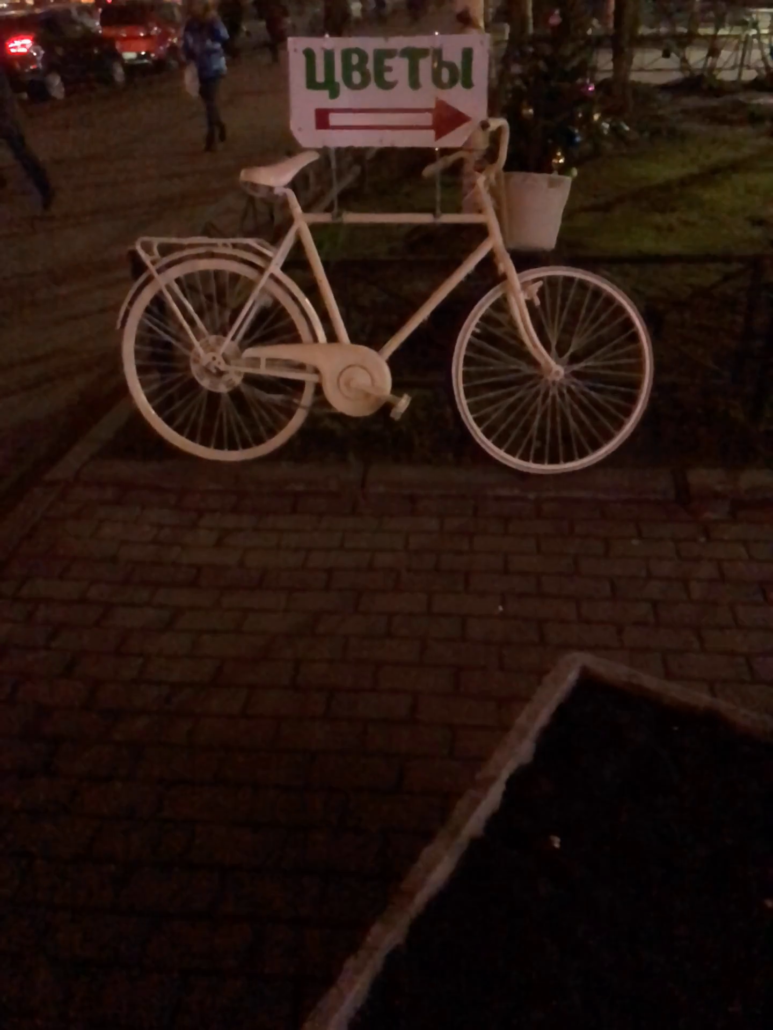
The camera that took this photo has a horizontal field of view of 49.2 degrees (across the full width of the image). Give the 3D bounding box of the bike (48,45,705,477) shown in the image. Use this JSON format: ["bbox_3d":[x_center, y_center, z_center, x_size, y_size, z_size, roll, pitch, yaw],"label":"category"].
[{"bbox_3d":[-0.027,-0.829,2.874,1.827,1.118,0.609,-2,31,6],"label":"bike"}]
